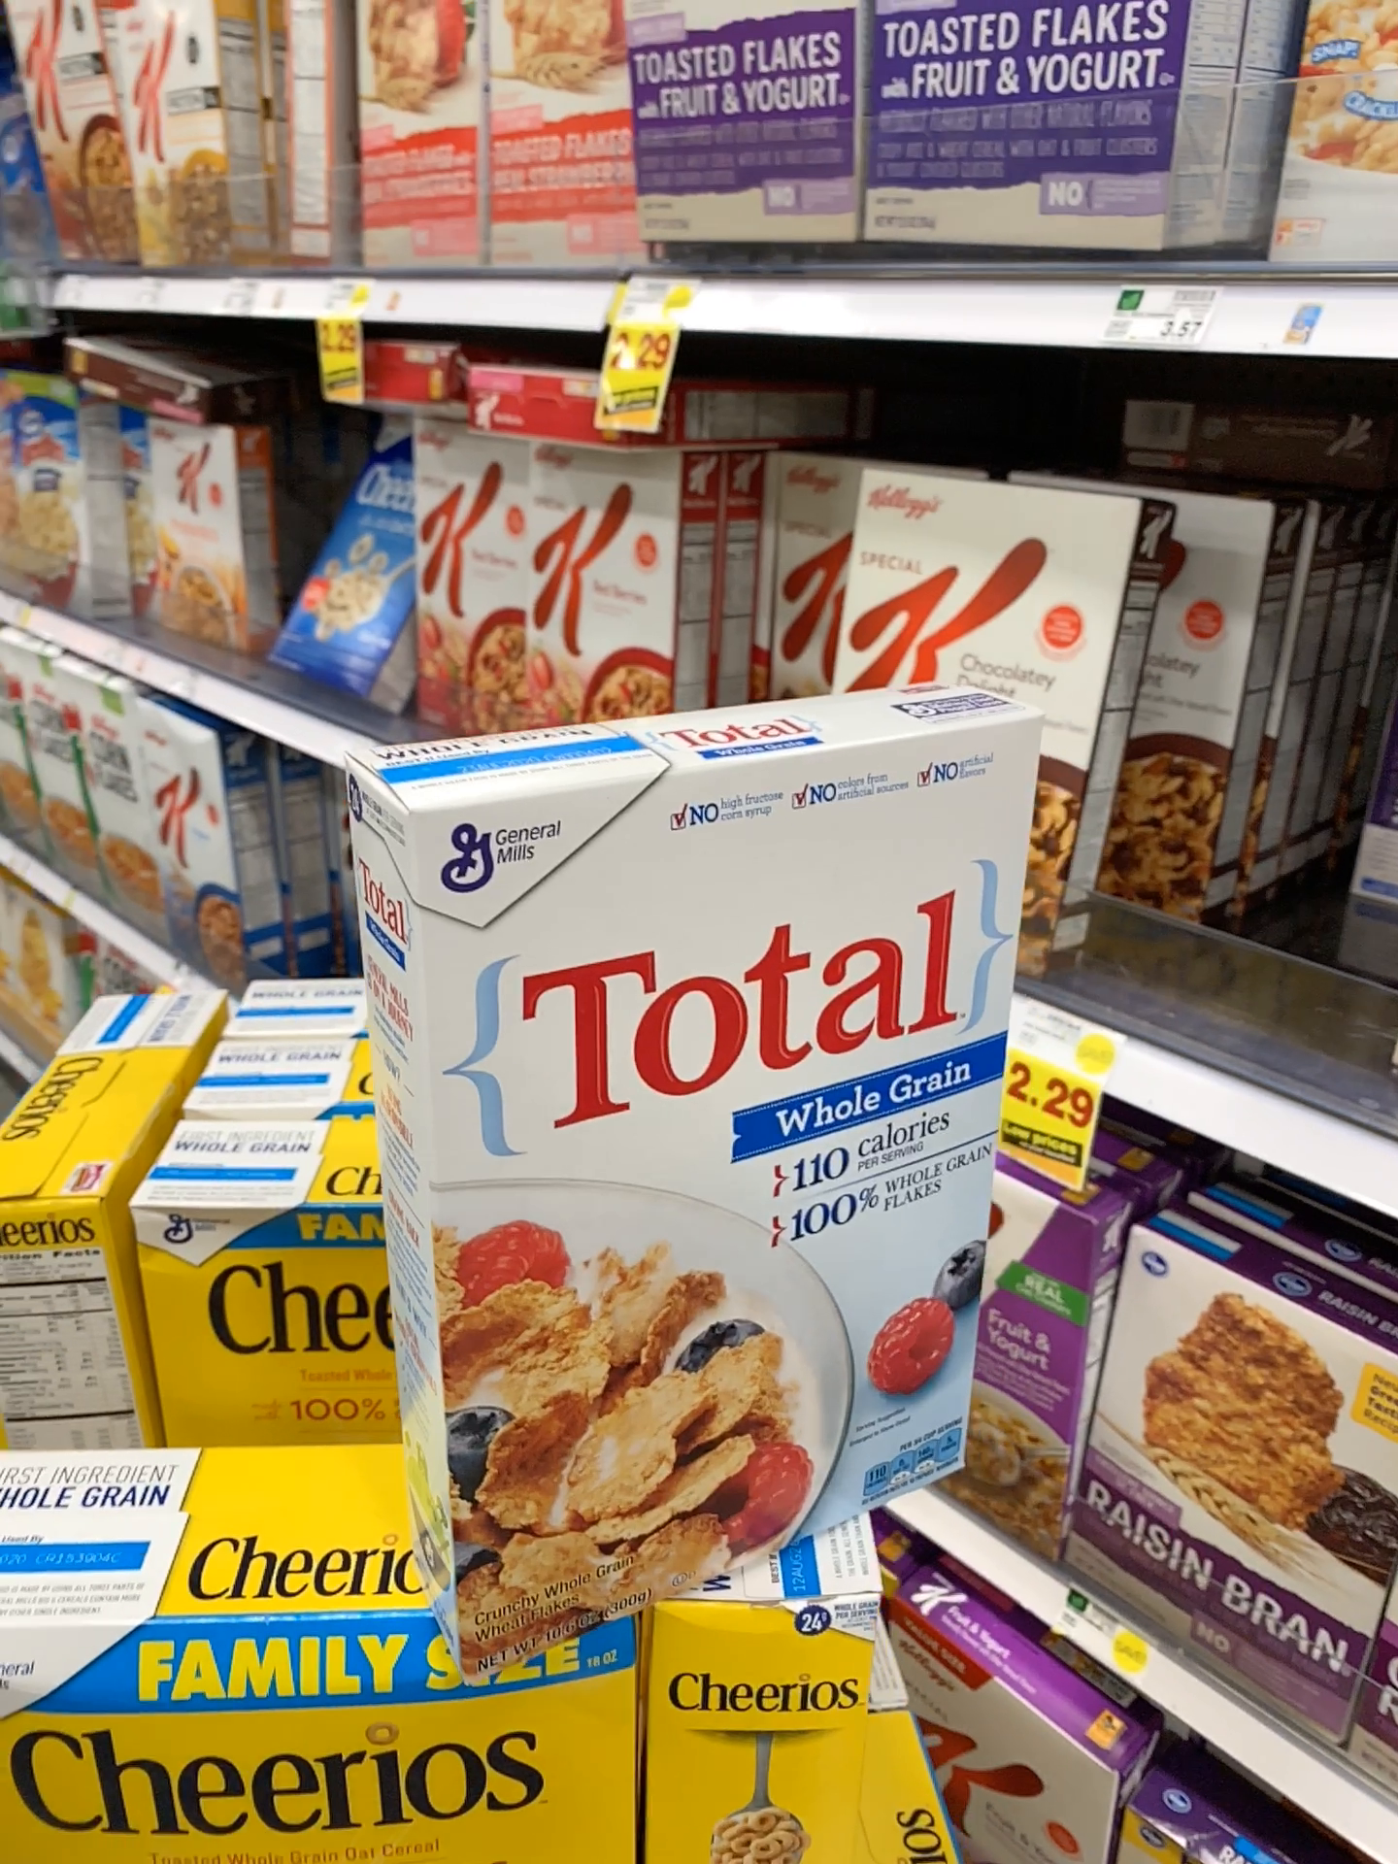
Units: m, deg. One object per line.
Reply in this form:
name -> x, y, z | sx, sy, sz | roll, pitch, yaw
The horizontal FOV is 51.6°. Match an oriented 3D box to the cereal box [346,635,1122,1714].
cereal box -> 0.014, 0.072, 0.446 | 0.210, 0.299, 0.050 | -12, 27, -26
